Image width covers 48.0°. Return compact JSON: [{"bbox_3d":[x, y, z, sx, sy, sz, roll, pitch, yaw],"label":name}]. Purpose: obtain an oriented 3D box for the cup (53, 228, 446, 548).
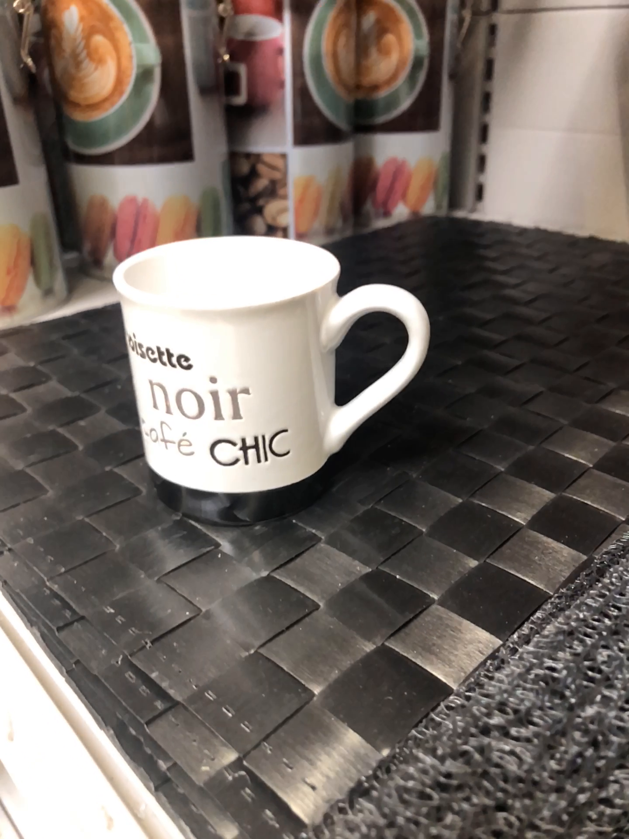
[{"bbox_3d":[-0.012,-0.015,0.212,0.092,0.066,0.068,5,29,13],"label":"cup"}]
